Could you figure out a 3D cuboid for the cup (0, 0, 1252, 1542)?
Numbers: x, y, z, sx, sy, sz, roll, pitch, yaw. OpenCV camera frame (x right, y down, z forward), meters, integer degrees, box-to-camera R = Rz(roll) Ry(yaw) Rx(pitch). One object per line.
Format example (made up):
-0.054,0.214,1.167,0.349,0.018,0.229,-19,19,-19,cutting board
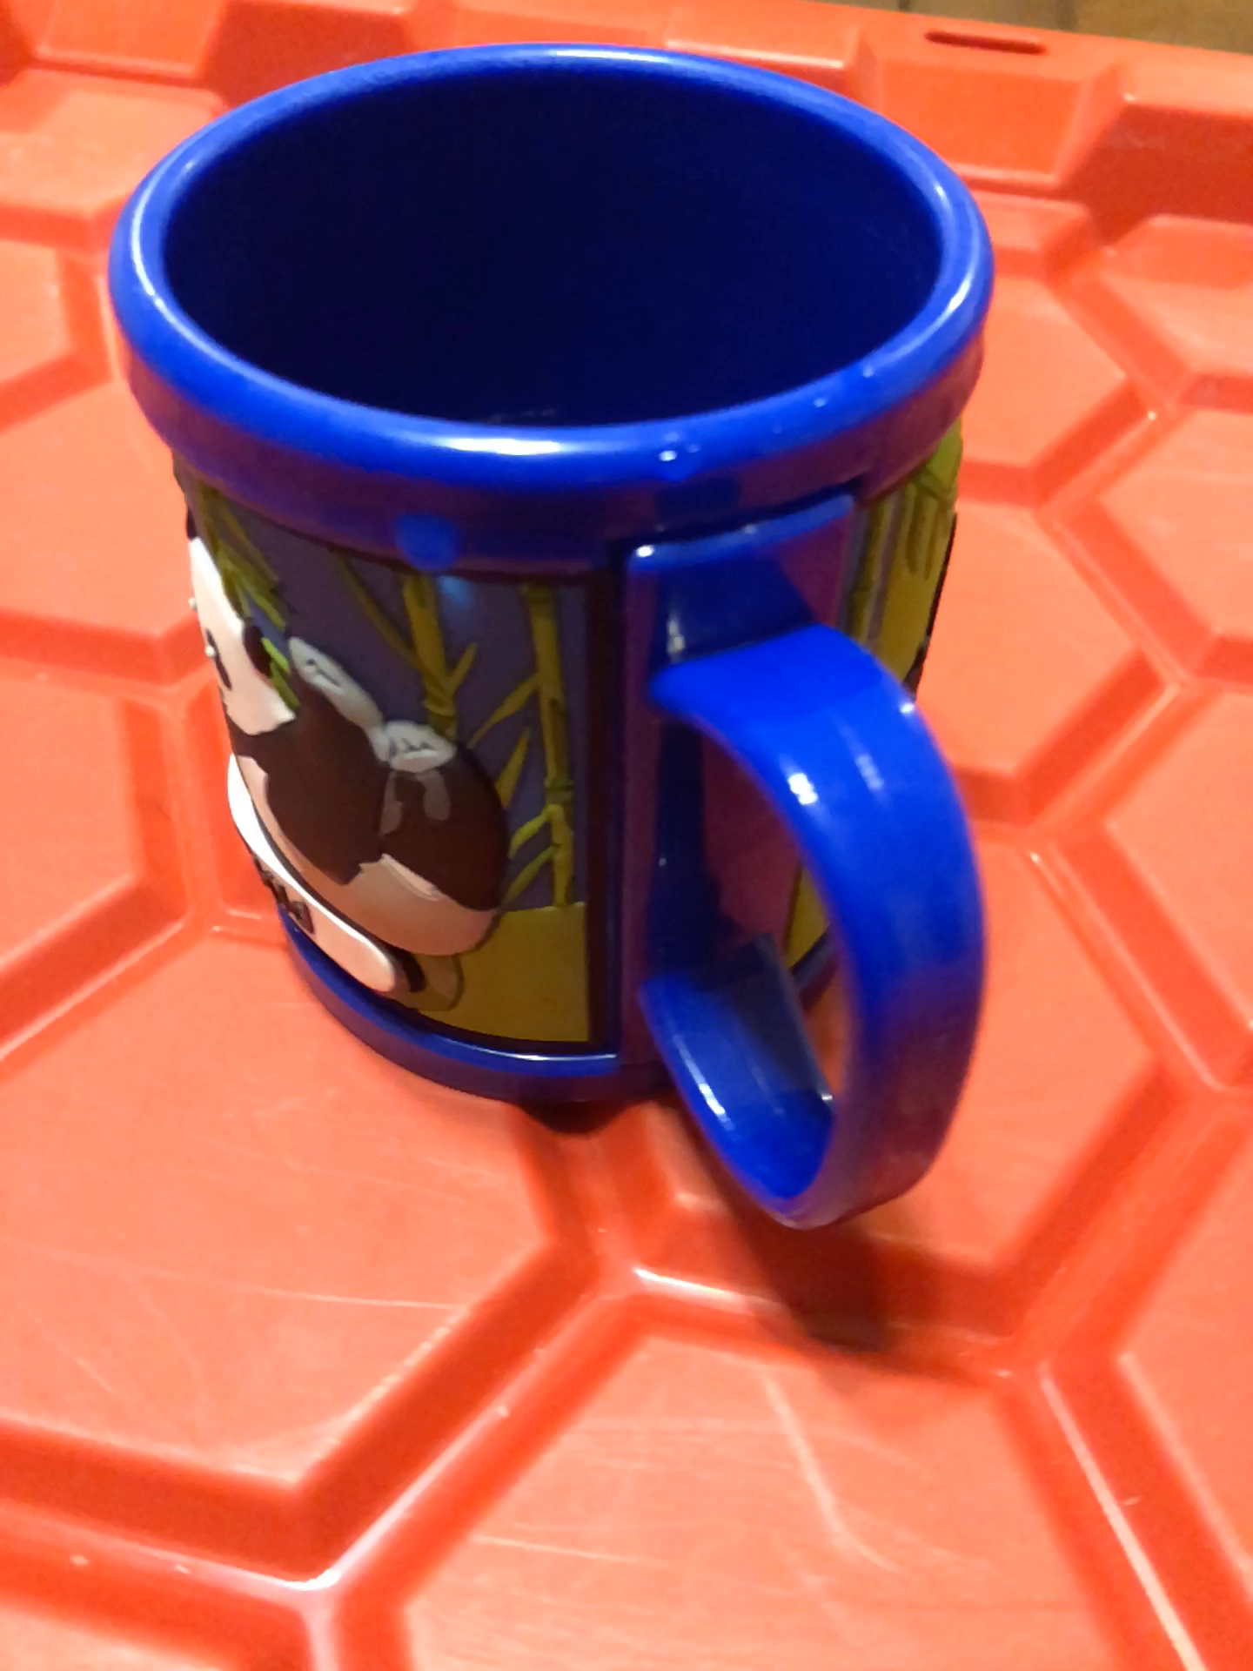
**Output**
-0.002,-0.015,0.154,0.090,0.099,0.121,-19,52,-16,cup
